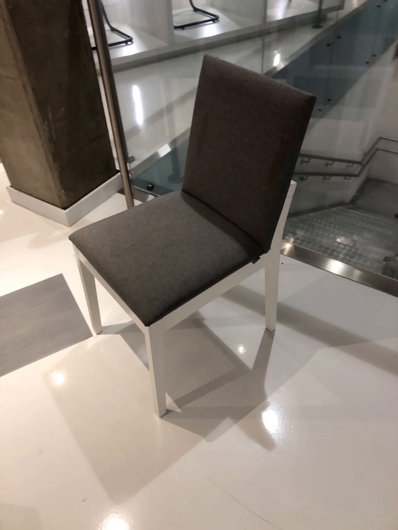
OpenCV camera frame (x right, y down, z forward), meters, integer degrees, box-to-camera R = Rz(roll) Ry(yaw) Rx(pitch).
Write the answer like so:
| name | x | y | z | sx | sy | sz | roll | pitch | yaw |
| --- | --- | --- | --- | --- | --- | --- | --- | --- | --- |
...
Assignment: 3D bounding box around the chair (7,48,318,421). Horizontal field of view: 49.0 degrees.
| name | x | y | z | sx | sy | sz | roll | pitch | yaw |
| --- | --- | --- | --- | --- | --- | --- | --- | --- | --- |
| chair | -0.075 | -0.082 | 1.306 | 0.561 | 0.844 | 0.482 | -28 | 48 | -24 |
